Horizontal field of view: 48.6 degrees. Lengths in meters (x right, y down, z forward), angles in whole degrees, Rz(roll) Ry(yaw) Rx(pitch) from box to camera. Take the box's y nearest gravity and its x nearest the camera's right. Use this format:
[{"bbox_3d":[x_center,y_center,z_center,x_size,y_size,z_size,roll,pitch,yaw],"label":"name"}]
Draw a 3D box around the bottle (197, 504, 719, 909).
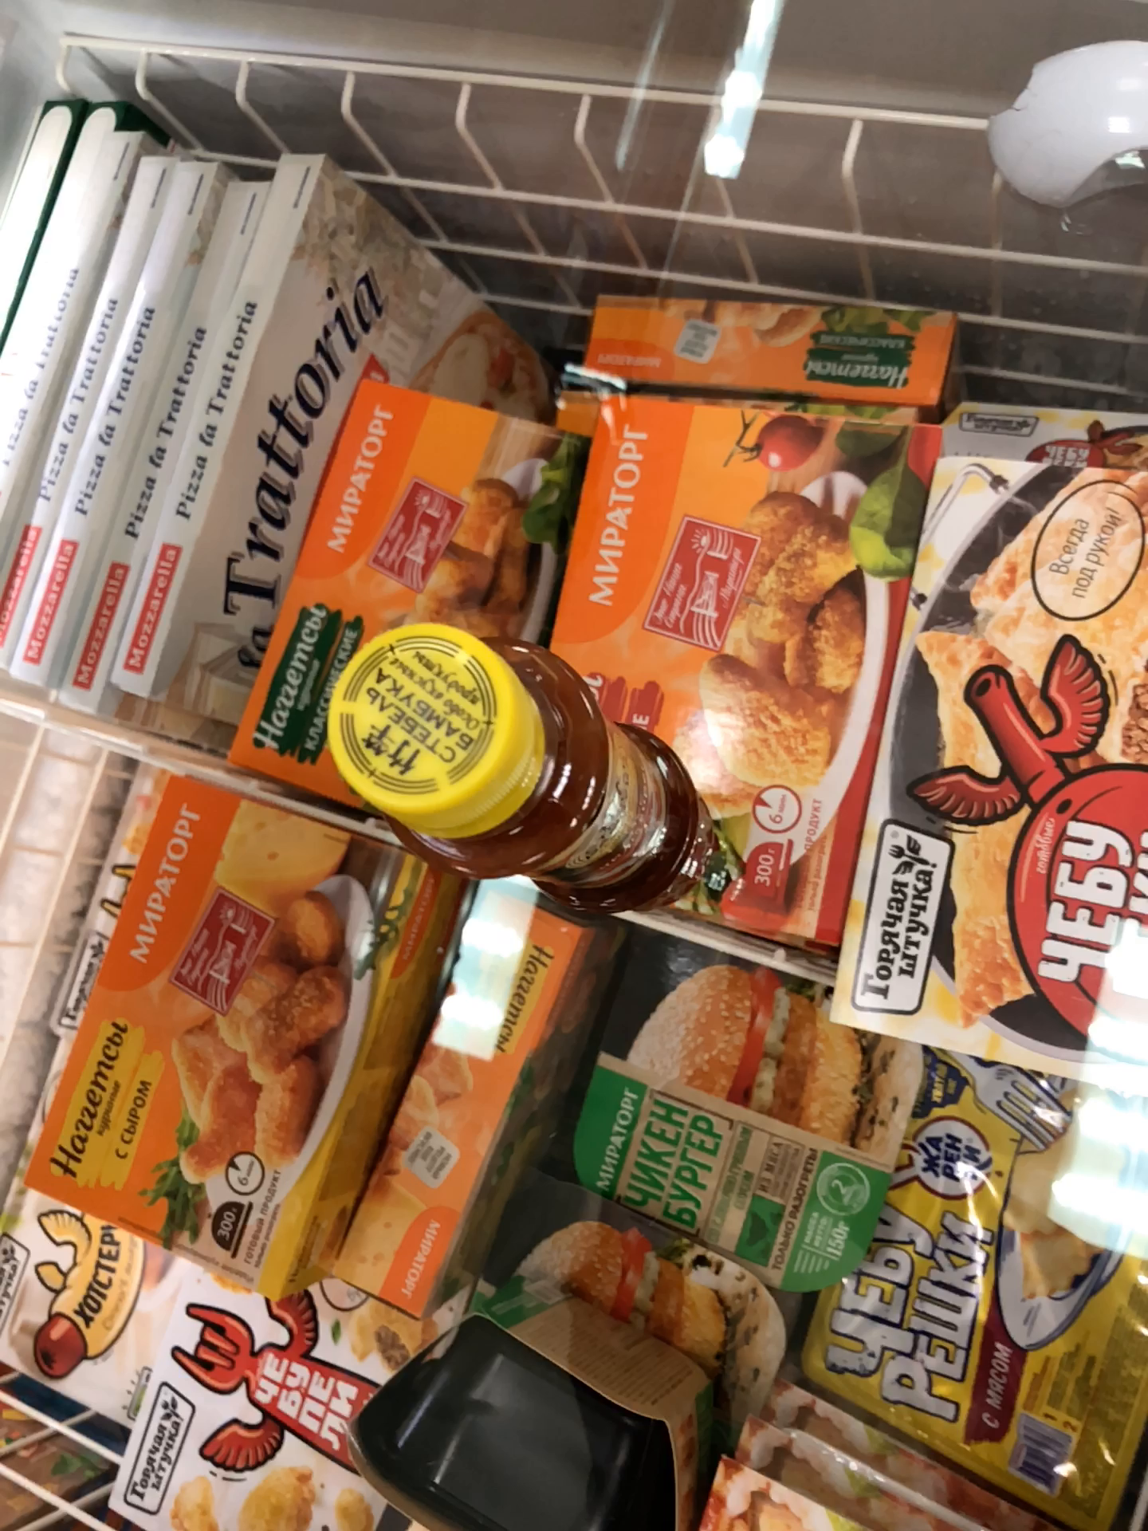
[{"bbox_3d":[-0.007,0.001,0.301,0.047,0.213,0.048,-2,80,14],"label":"bottle"}]
